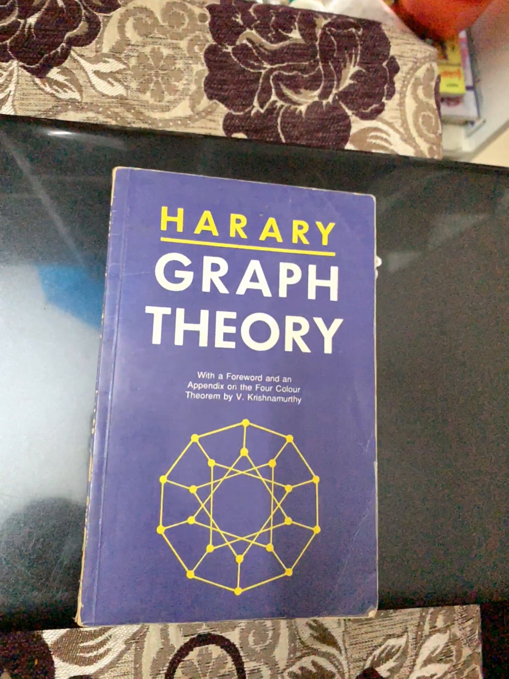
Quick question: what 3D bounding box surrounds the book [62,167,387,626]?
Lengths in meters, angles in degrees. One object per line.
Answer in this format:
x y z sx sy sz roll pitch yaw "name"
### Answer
-0.007 0.024 0.254 0.140 0.020 0.200 4 81 -10 "book"
